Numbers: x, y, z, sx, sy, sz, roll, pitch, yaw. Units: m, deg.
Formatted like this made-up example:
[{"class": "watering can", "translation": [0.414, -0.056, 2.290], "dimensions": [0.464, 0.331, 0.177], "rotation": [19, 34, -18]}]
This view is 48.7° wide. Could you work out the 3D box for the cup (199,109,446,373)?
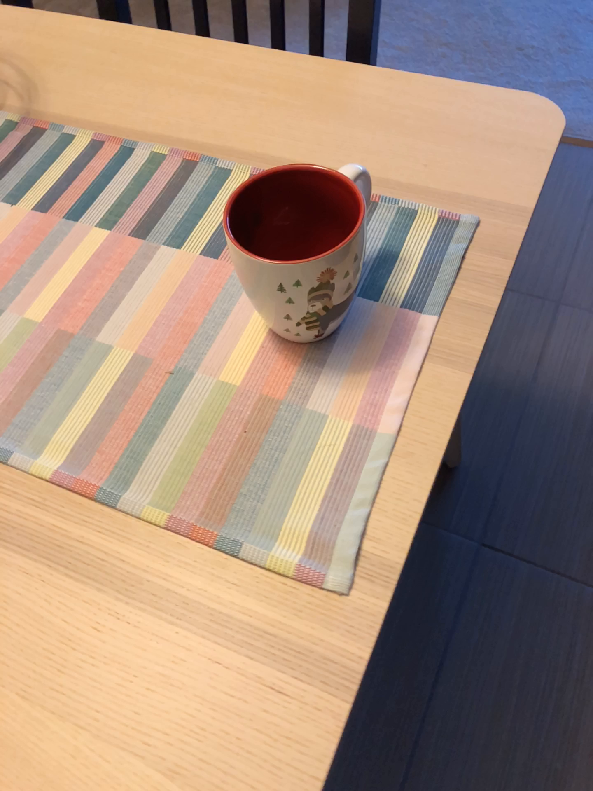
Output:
[{"class": "cup", "translation": [0.023, -0.113, 0.469], "dimensions": [0.100, 0.090, 0.140], "rotation": [29, 64, 23]}]
